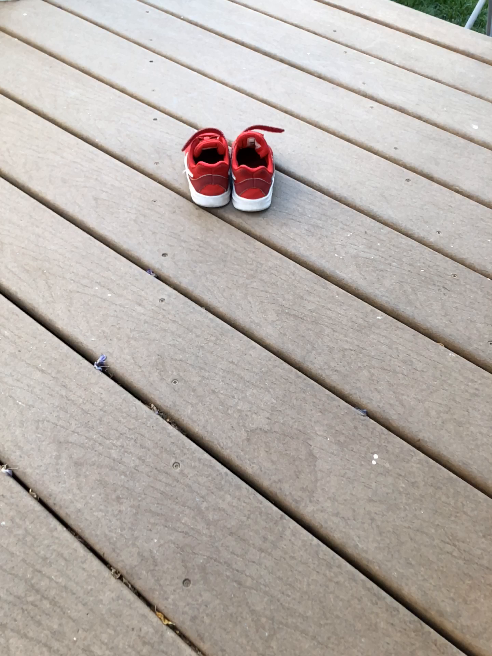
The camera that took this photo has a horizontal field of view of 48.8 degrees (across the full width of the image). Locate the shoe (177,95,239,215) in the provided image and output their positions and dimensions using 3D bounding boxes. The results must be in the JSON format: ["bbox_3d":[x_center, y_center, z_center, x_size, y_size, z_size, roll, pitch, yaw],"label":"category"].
[{"bbox_3d":[-0.058,-0.256,0.795,0.077,0.087,0.168,-2,53,-6],"label":"shoe"}]

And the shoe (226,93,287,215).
[{"bbox_3d":[0.013,-0.255,0.789,0.077,0.087,0.168,2,52,-2],"label":"shoe"}]
